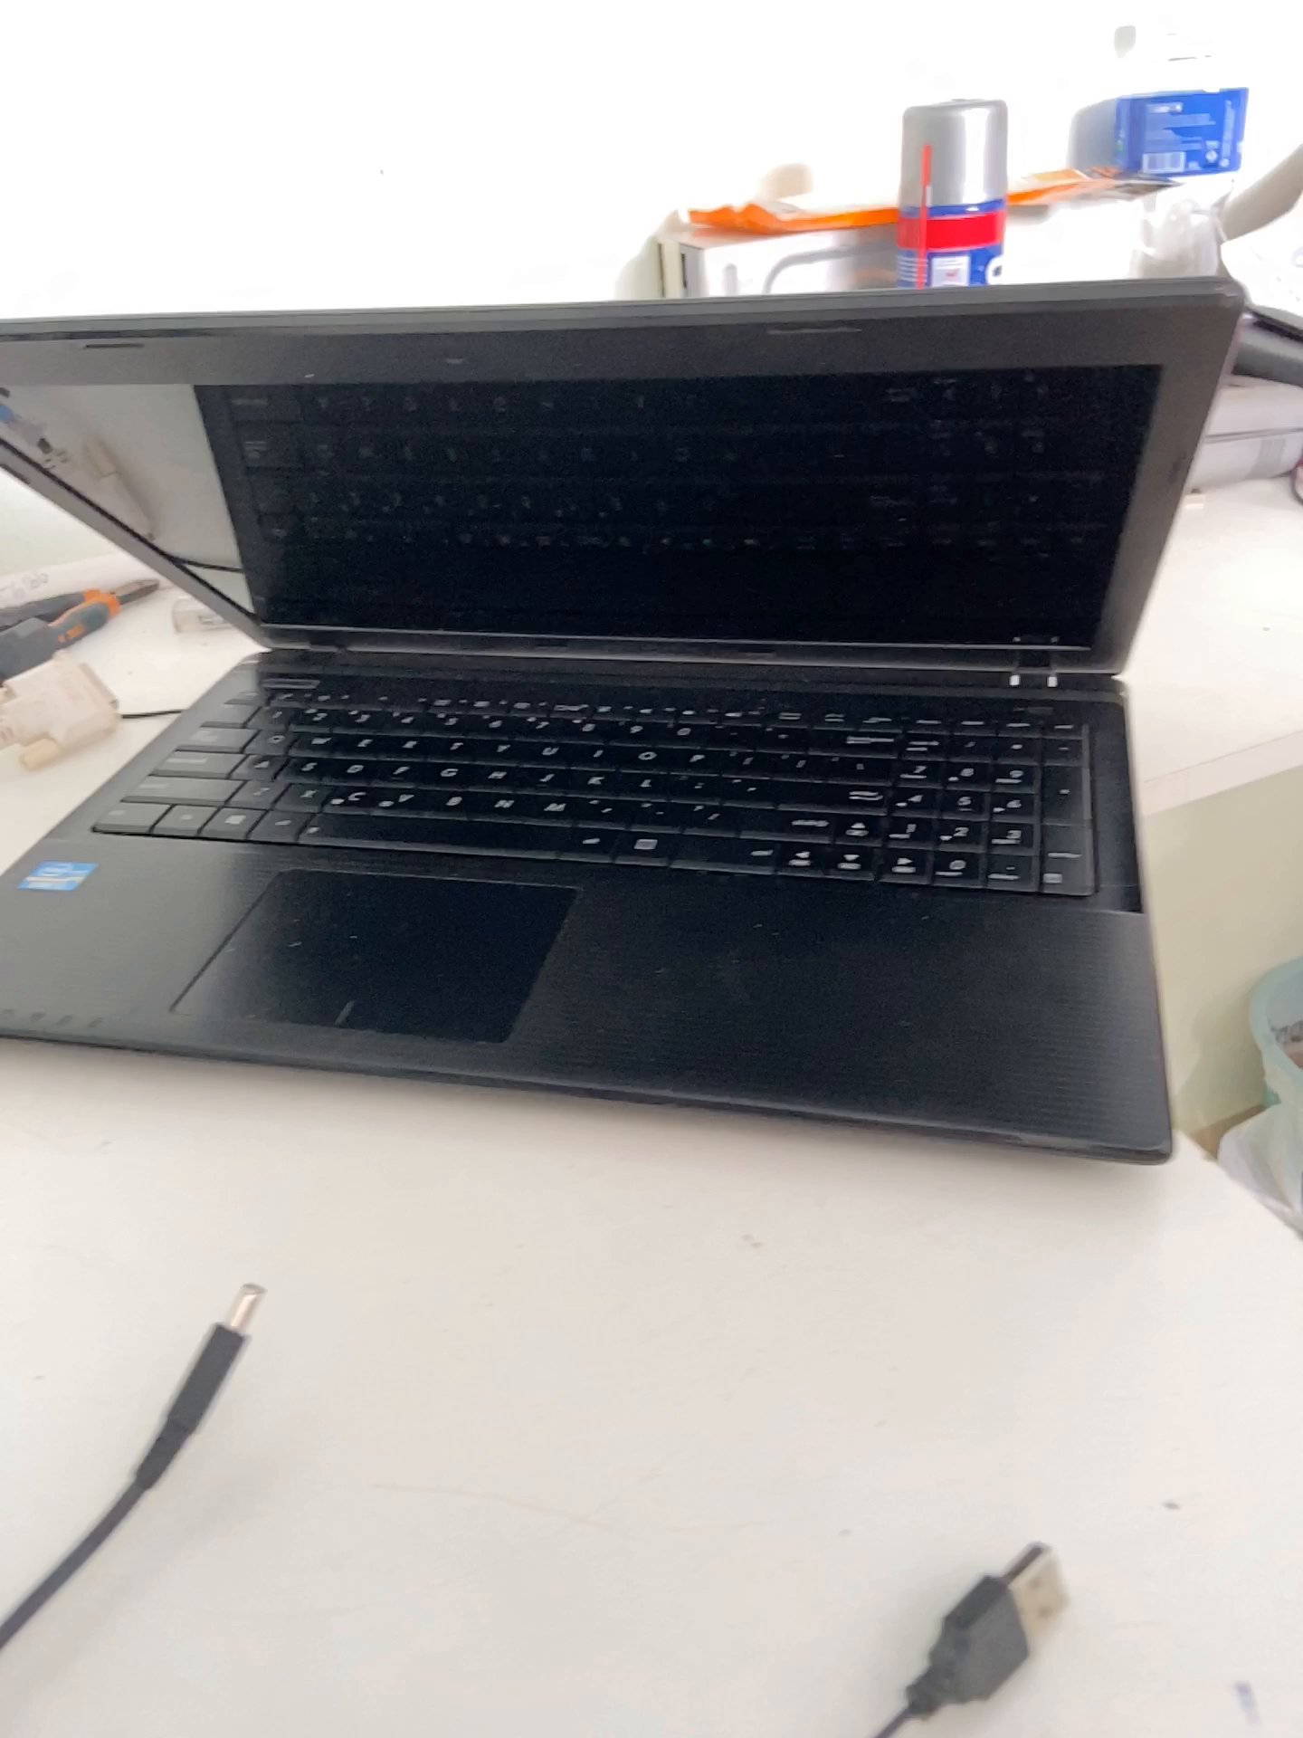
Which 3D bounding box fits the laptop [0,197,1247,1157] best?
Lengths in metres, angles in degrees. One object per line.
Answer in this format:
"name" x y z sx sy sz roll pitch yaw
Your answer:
"laptop" -0.037 -0.085 0.421 0.375 0.165 0.248 4 35 15
